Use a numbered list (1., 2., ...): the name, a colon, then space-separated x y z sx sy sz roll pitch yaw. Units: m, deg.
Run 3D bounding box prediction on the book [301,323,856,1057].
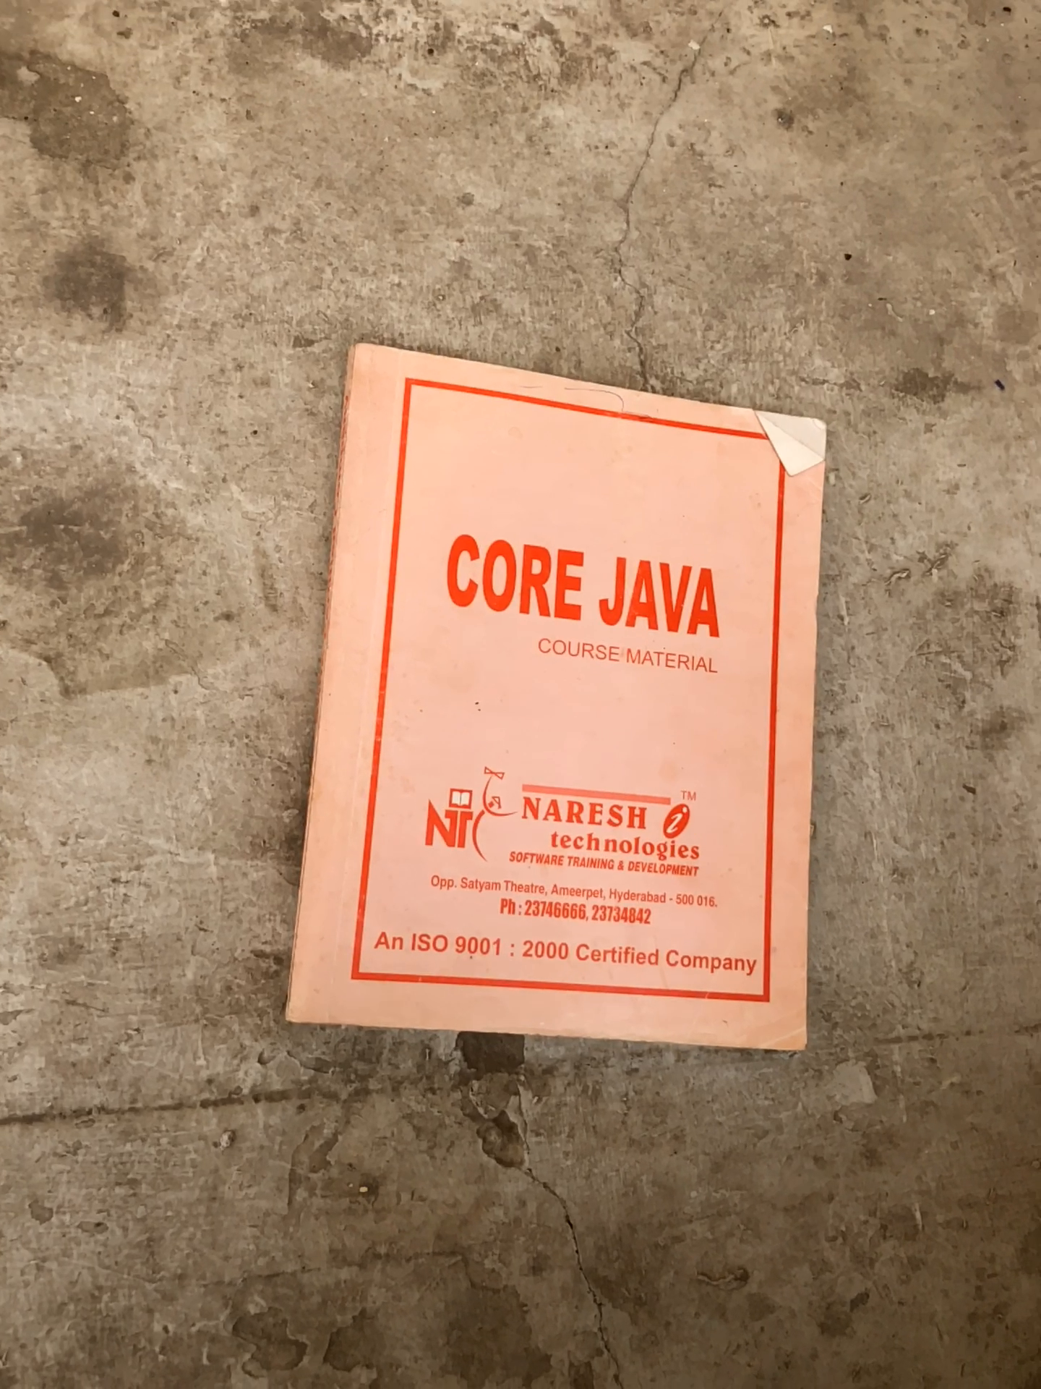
1. book: 0.029 -0.001 0.443 0.200 0.030 0.260 5 79 -11
